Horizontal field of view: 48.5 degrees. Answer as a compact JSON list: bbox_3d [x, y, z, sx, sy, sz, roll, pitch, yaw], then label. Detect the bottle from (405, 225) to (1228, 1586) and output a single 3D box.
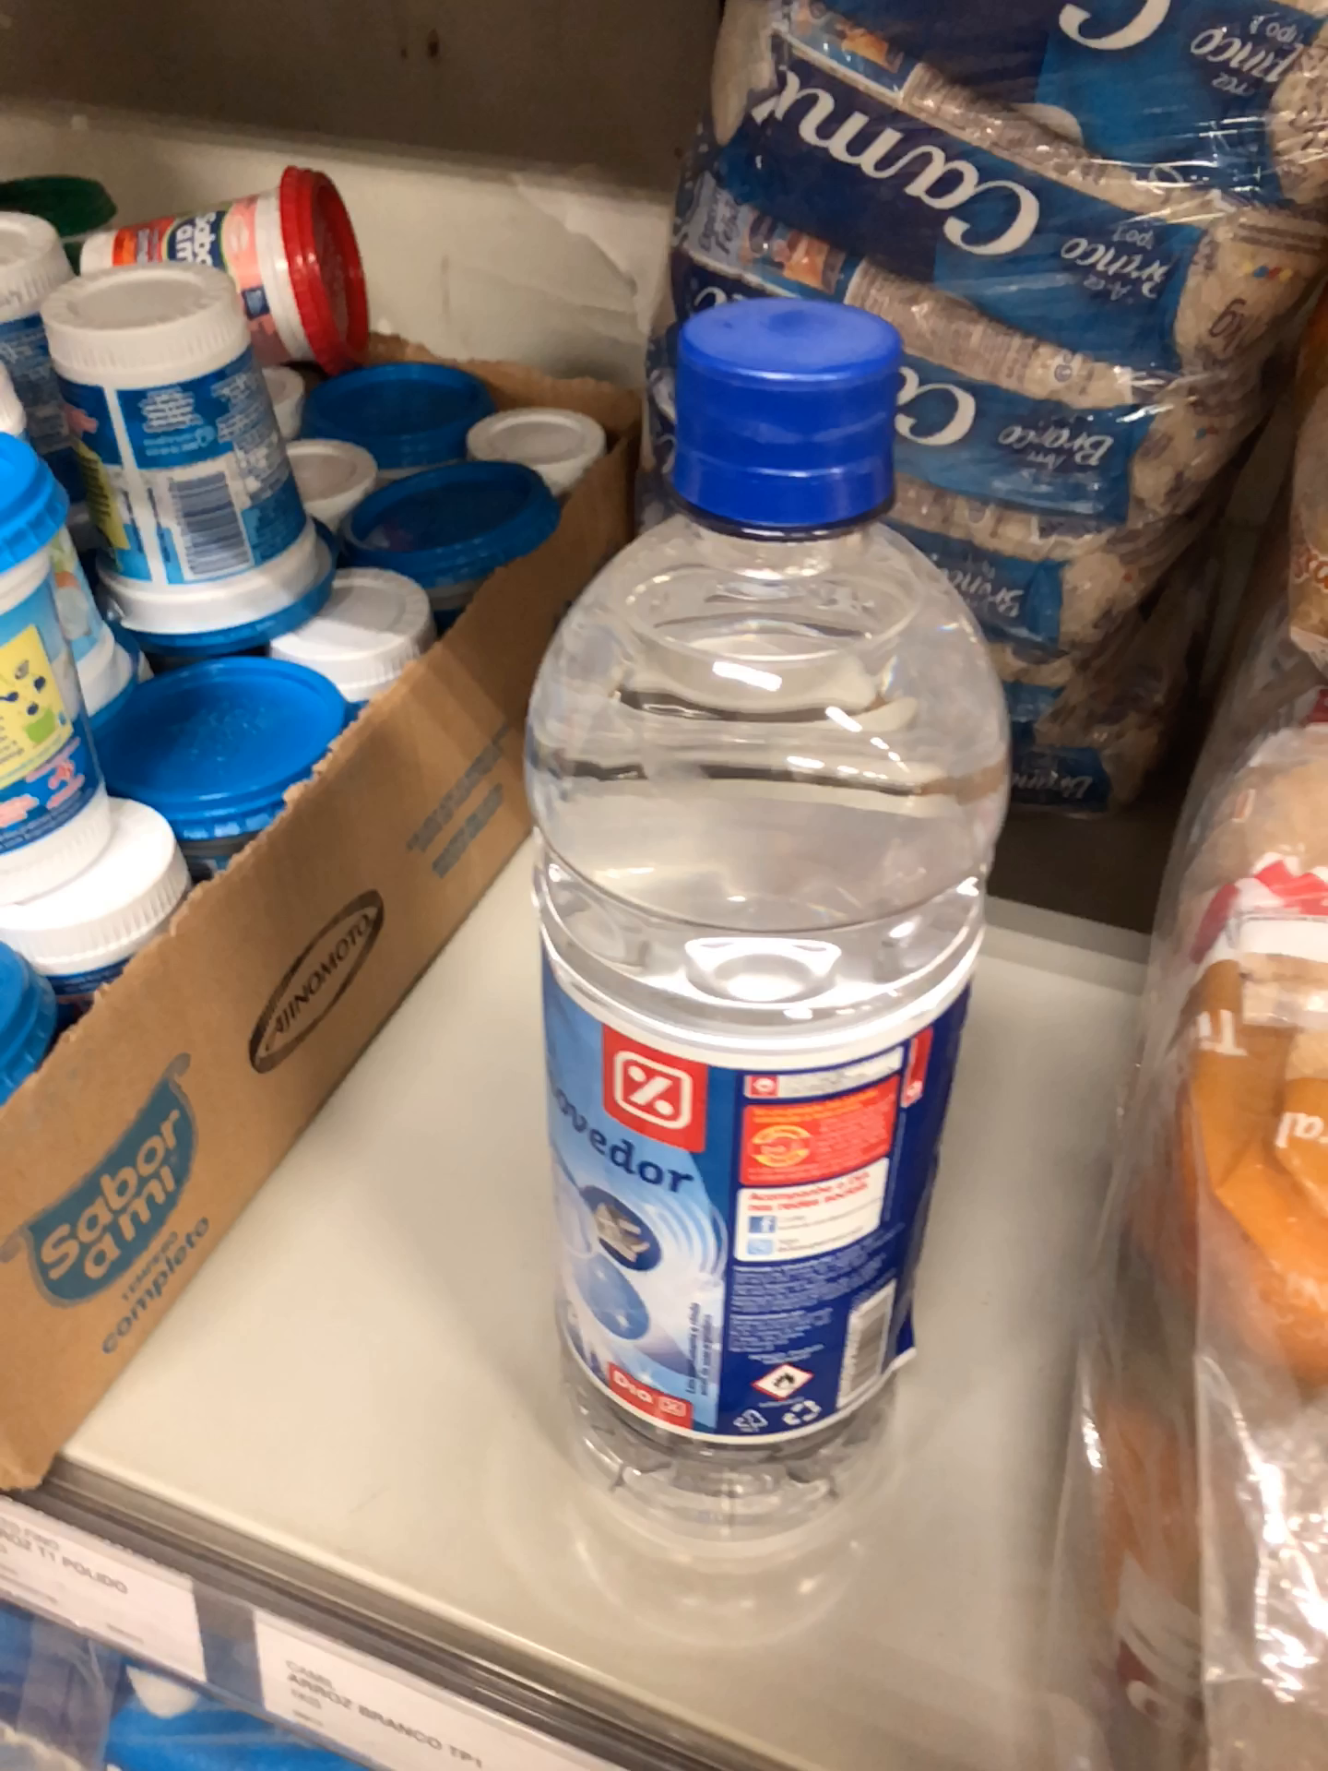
[{"bbox_3d":[0.017,0.028,0.275,0.090,0.258,0.081,-6,42,-4],"label":"bottle"}]
